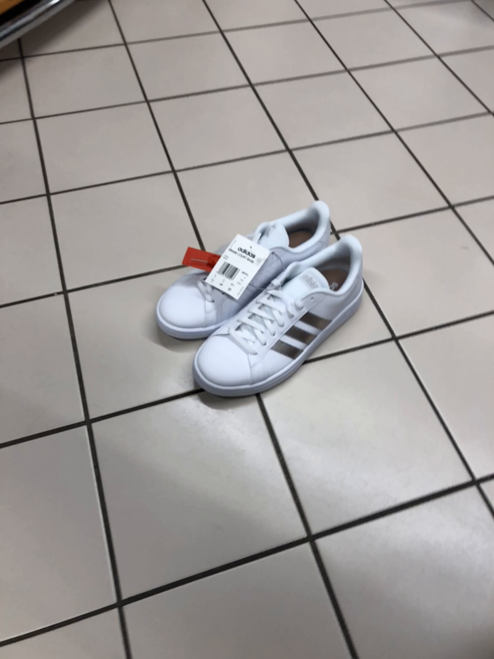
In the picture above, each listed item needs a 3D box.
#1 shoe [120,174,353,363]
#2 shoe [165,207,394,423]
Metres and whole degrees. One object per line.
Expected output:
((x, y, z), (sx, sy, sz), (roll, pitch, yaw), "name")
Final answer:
((-0.008, -0.085, 0.713), (0.281, 0.100, 0.100), (-29, 61, -21), "shoe")
((0.044, -0.025, 0.679), (0.281, 0.100, 0.100), (-37, 64, -24), "shoe")
